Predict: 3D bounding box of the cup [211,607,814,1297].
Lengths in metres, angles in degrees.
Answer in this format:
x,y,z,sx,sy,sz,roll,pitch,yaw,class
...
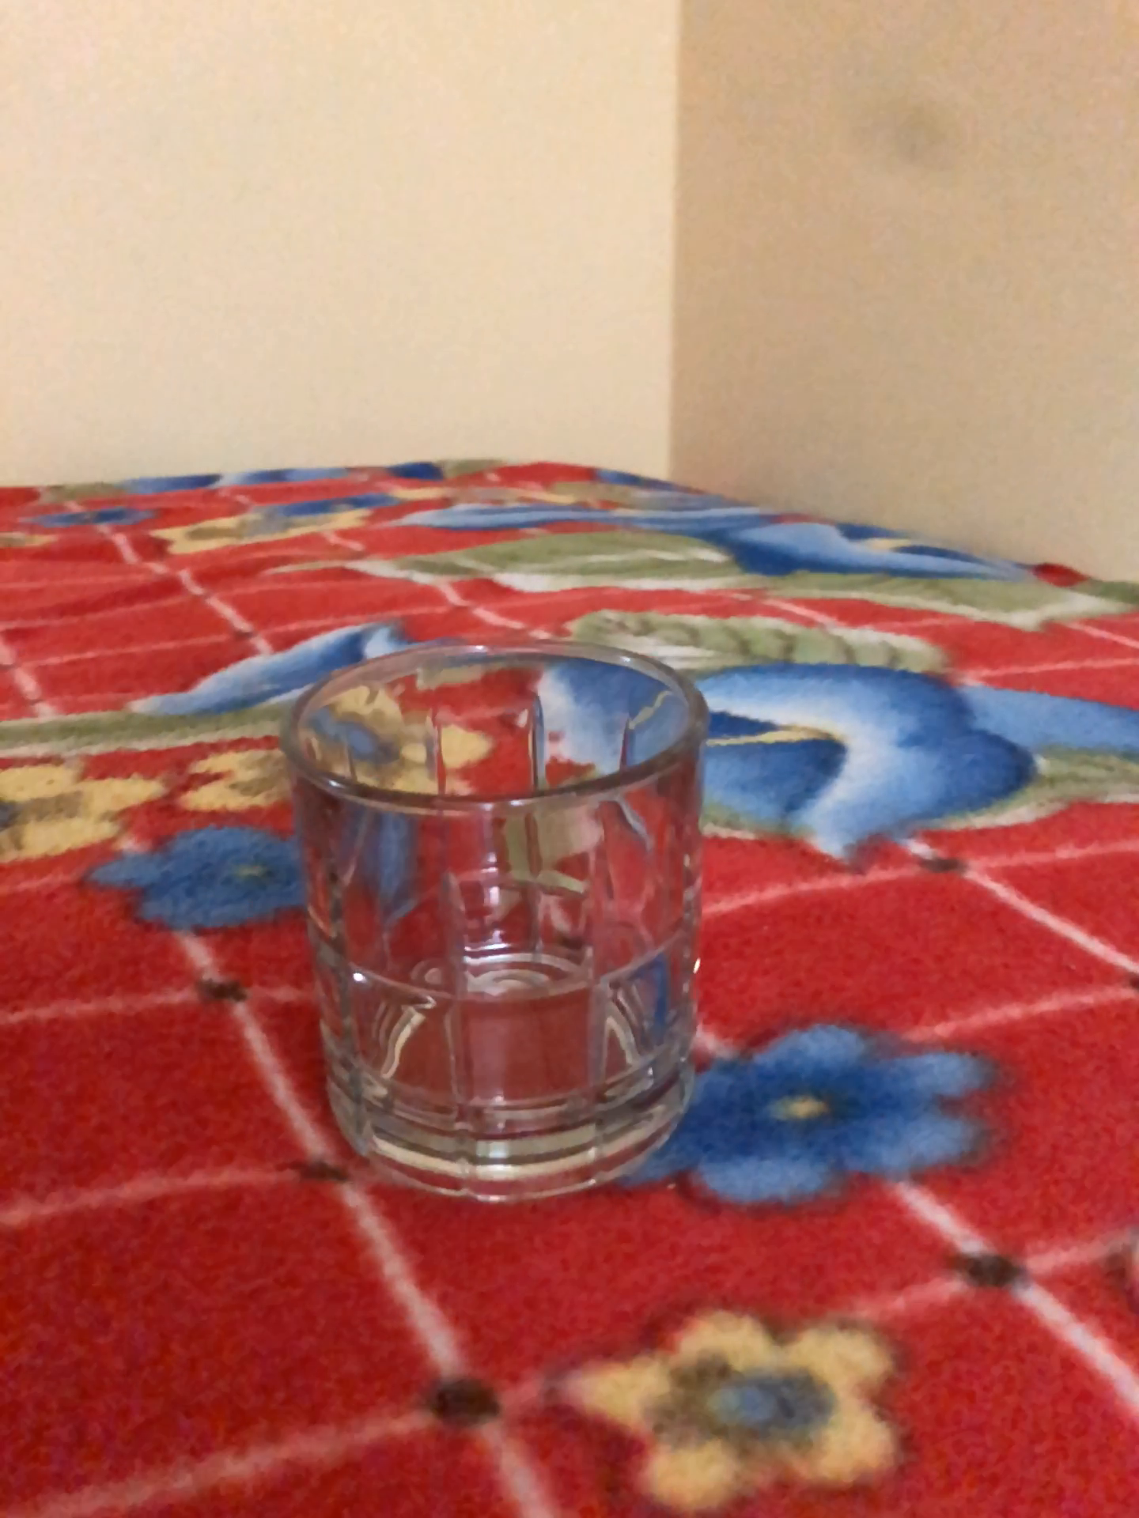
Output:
x,y,z,sx,sy,sz,roll,pitch,yaw,class
-0.013,0.029,0.252,0.083,0.088,0.084,-1,23,1,cup
